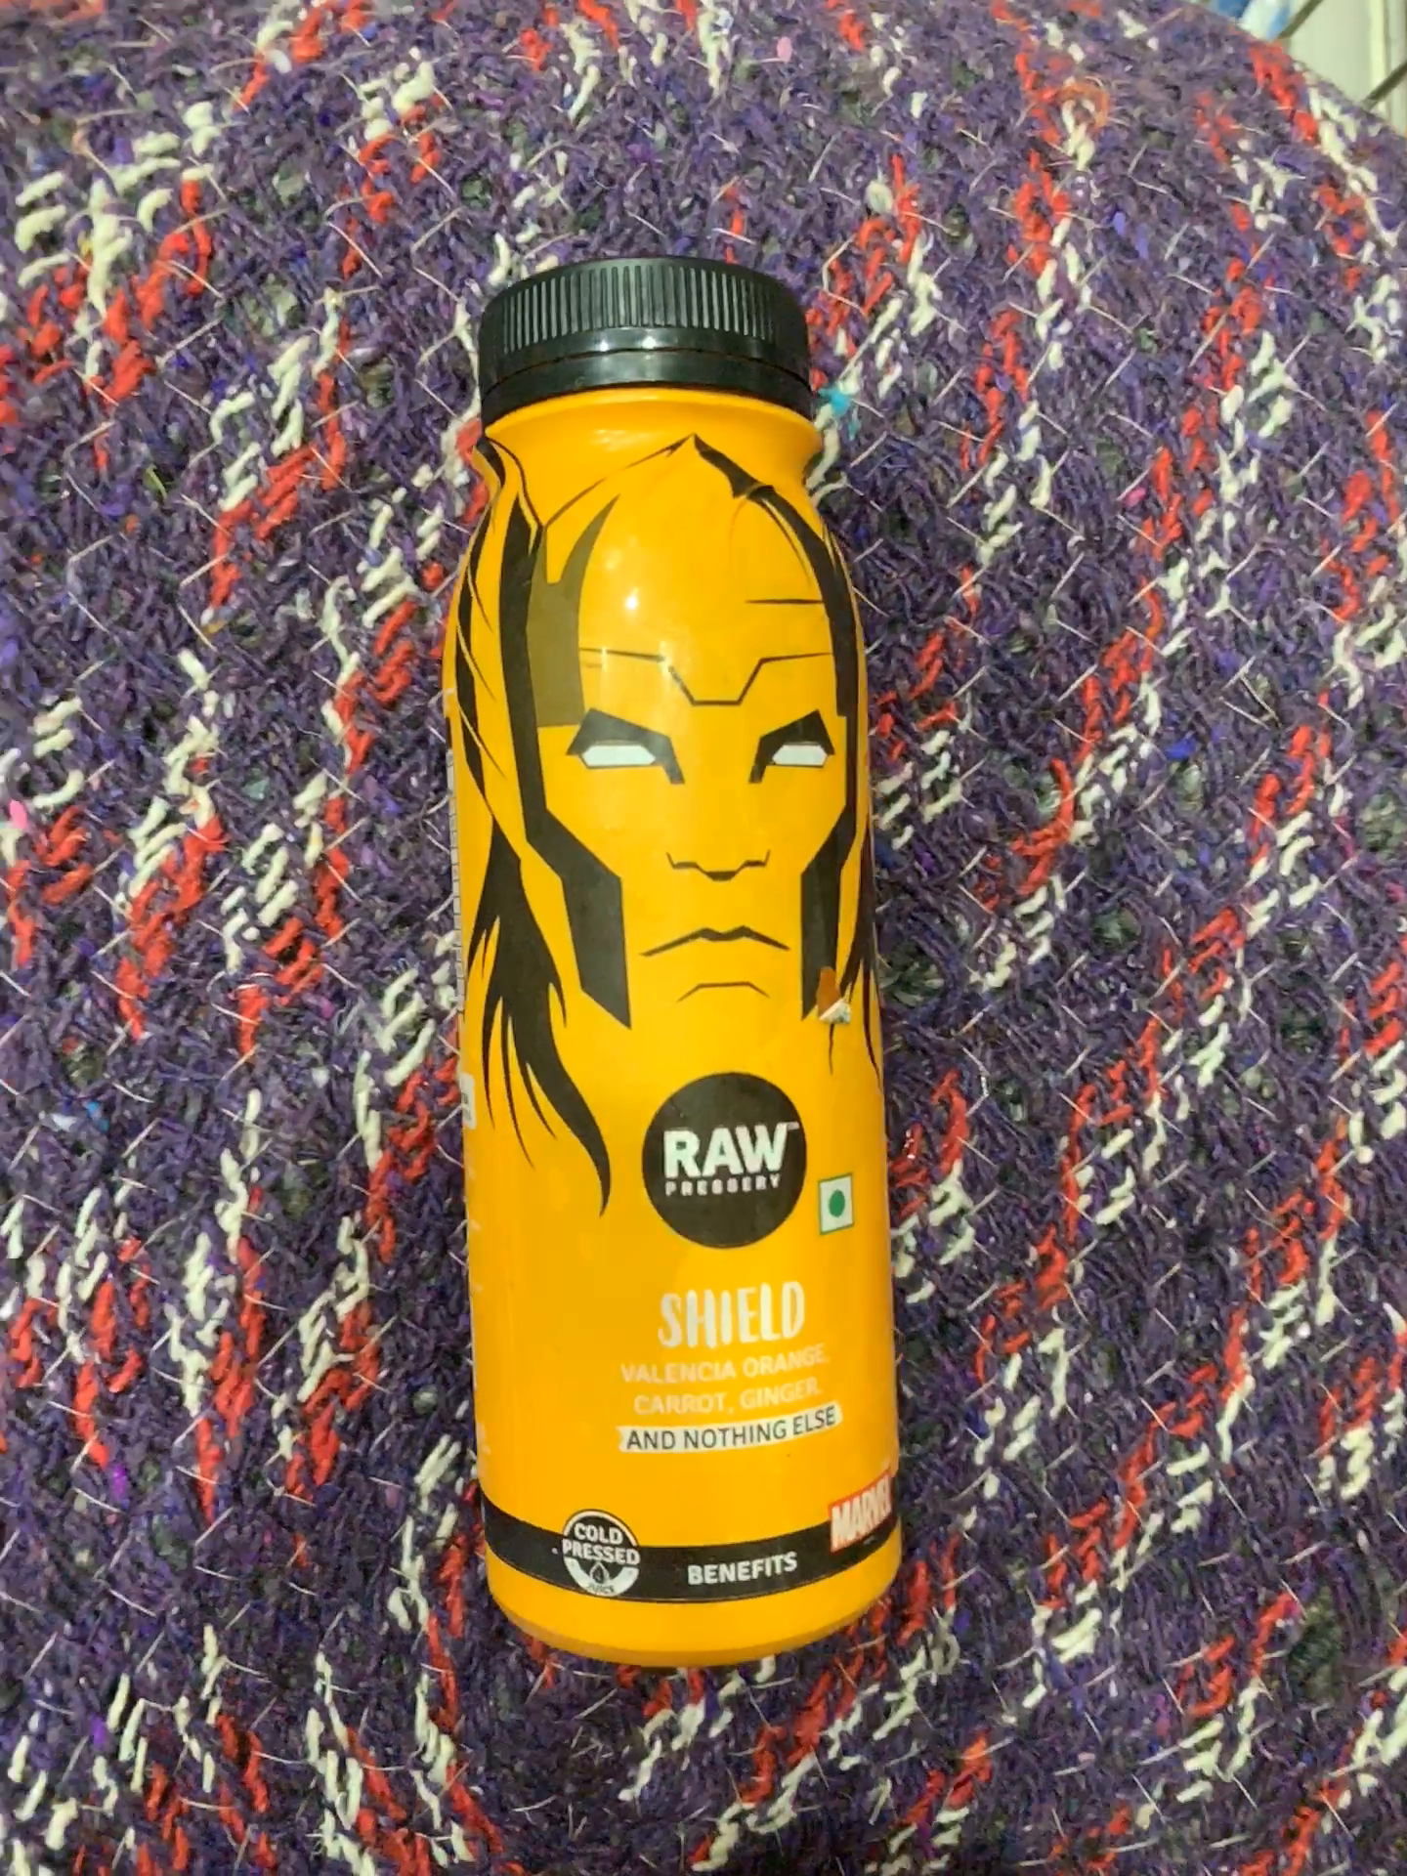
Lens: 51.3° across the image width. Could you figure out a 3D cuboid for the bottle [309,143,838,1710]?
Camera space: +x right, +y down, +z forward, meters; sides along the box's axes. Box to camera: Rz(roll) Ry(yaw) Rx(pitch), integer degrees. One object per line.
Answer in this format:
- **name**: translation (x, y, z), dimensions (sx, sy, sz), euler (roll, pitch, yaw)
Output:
- **bottle**: translation (-0.016, -0.002, 0.178), dimensions (0.050, 0.050, 0.160), euler (-2, 90, -8)
